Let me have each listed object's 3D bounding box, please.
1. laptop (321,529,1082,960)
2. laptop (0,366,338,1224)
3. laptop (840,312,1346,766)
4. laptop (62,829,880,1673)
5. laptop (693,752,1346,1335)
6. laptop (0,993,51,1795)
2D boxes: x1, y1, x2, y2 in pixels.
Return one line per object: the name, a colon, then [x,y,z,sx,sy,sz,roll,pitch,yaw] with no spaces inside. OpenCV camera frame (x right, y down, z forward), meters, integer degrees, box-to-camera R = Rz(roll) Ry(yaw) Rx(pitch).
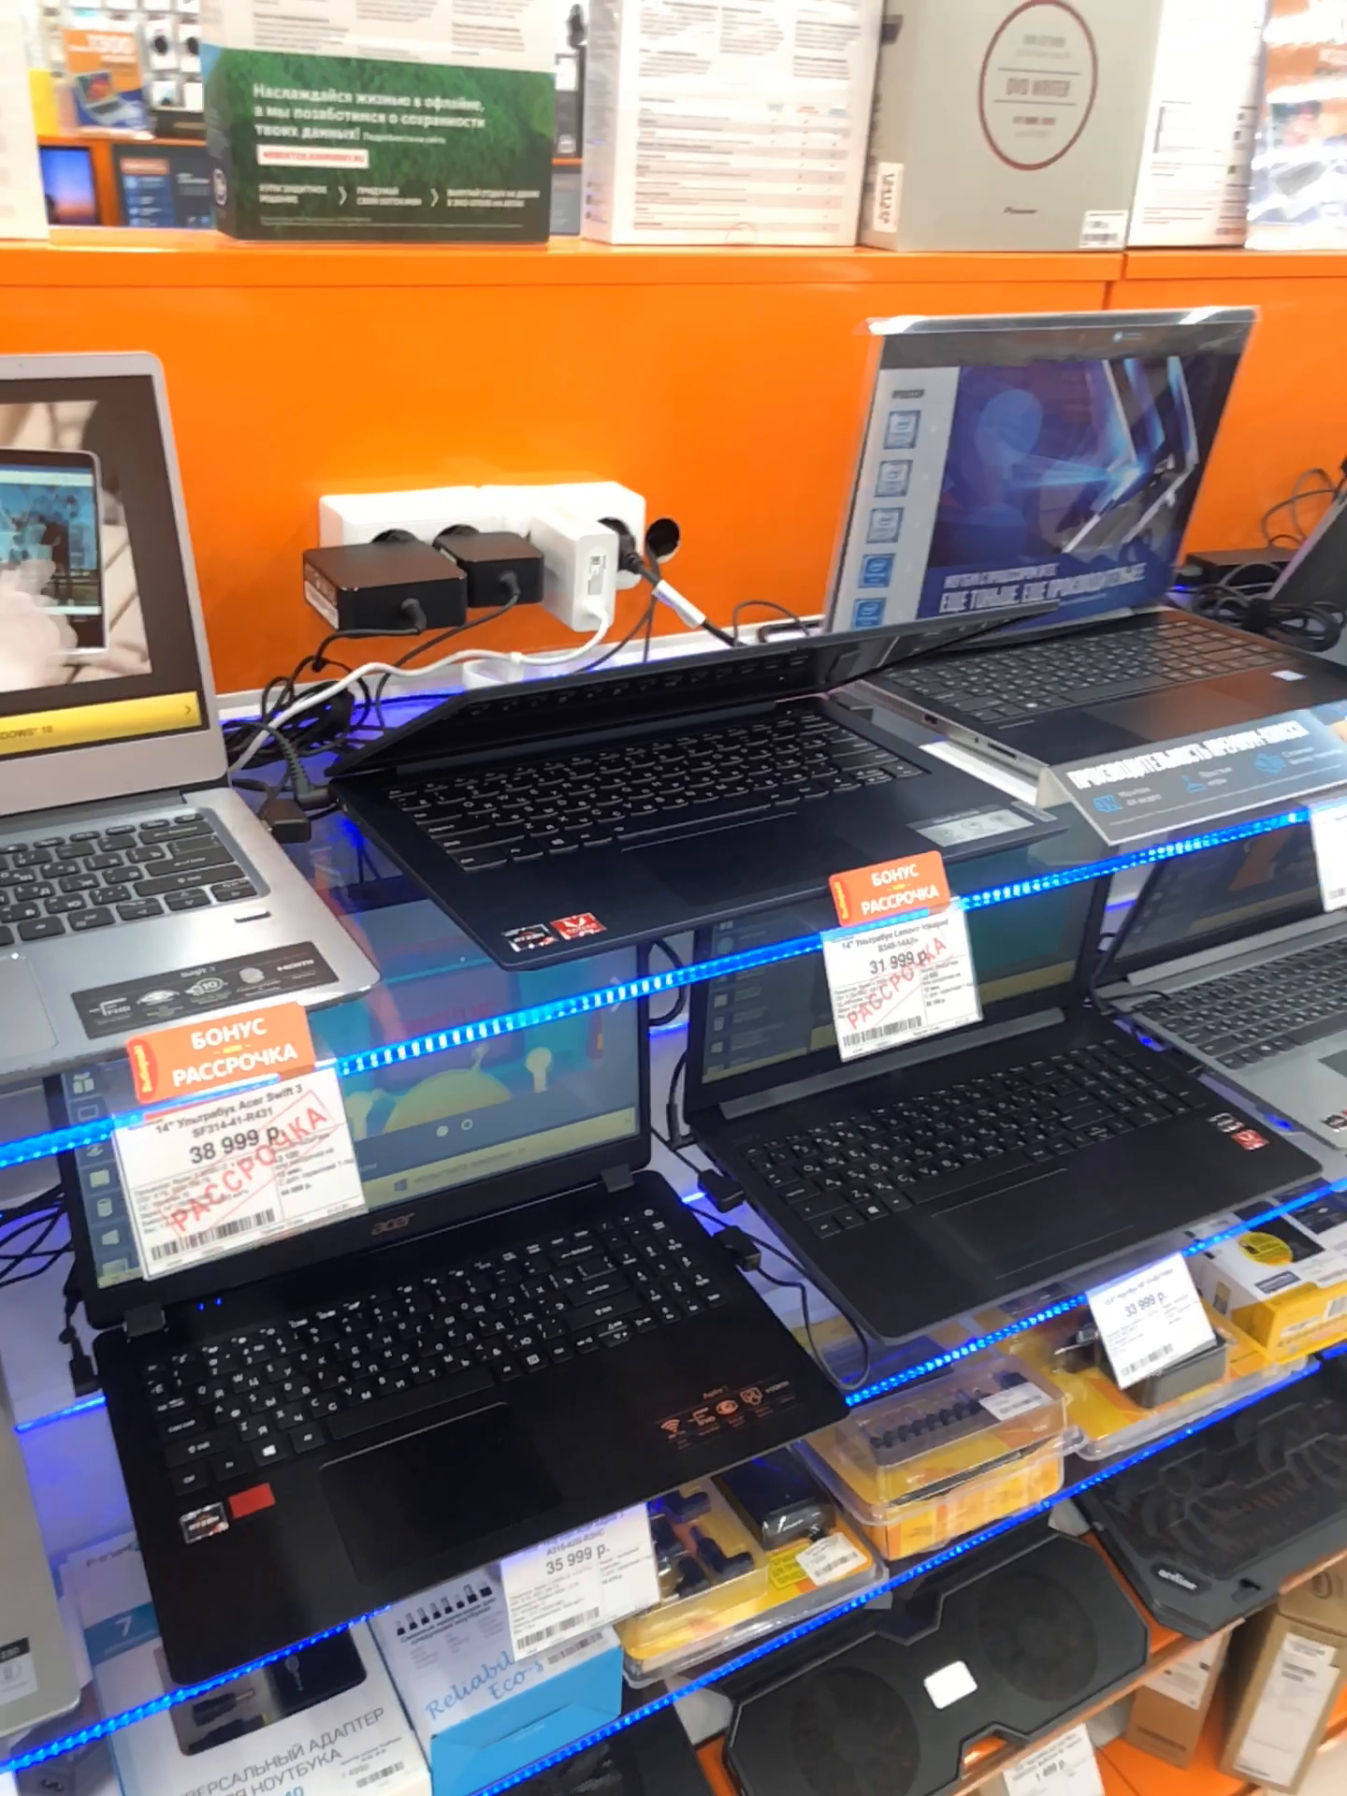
laptop: [0.007,-0.095,0.740,0.299,0.106,0.212,-13,30,-26]
laptop: [-0.314,-0.073,0.548,0.316,0.203,0.225,-12,30,-28]
laptop: [0.293,-0.243,0.926,0.306,0.213,0.229,-12,28,-26]
laptop: [-0.110,0.146,0.762,0.342,0.230,0.247,-11,29,-24]
laptop: [0.223,0.070,0.950,0.353,0.215,0.226,-12,29,-25]
laptop: [-0.455,0.221,0.576,0.348,0.208,0.235,-12,30,-29]
